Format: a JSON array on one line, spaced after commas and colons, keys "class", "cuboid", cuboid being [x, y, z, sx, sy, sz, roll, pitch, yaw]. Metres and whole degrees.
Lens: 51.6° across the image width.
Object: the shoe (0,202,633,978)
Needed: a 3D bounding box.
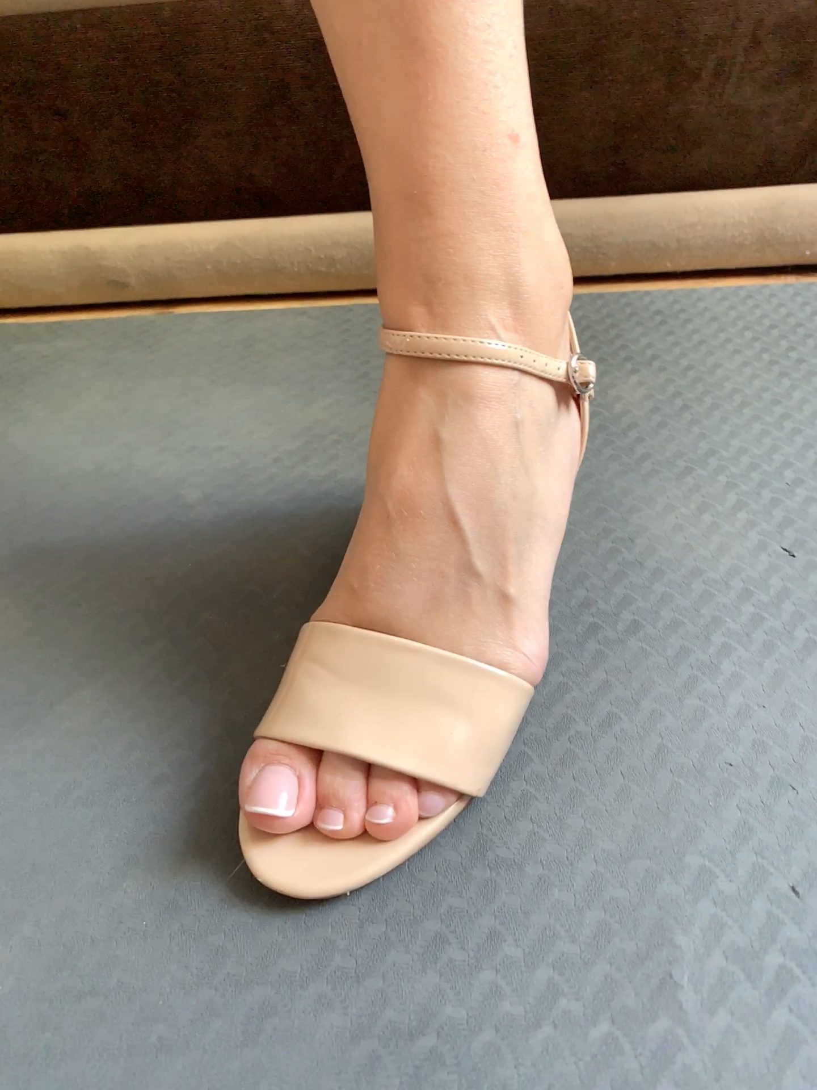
[{"class": "shoe", "cuboid": [-0.001, -0.016, 0.291, 0.090, 0.119, 0.251, 12, 41, 21]}]
